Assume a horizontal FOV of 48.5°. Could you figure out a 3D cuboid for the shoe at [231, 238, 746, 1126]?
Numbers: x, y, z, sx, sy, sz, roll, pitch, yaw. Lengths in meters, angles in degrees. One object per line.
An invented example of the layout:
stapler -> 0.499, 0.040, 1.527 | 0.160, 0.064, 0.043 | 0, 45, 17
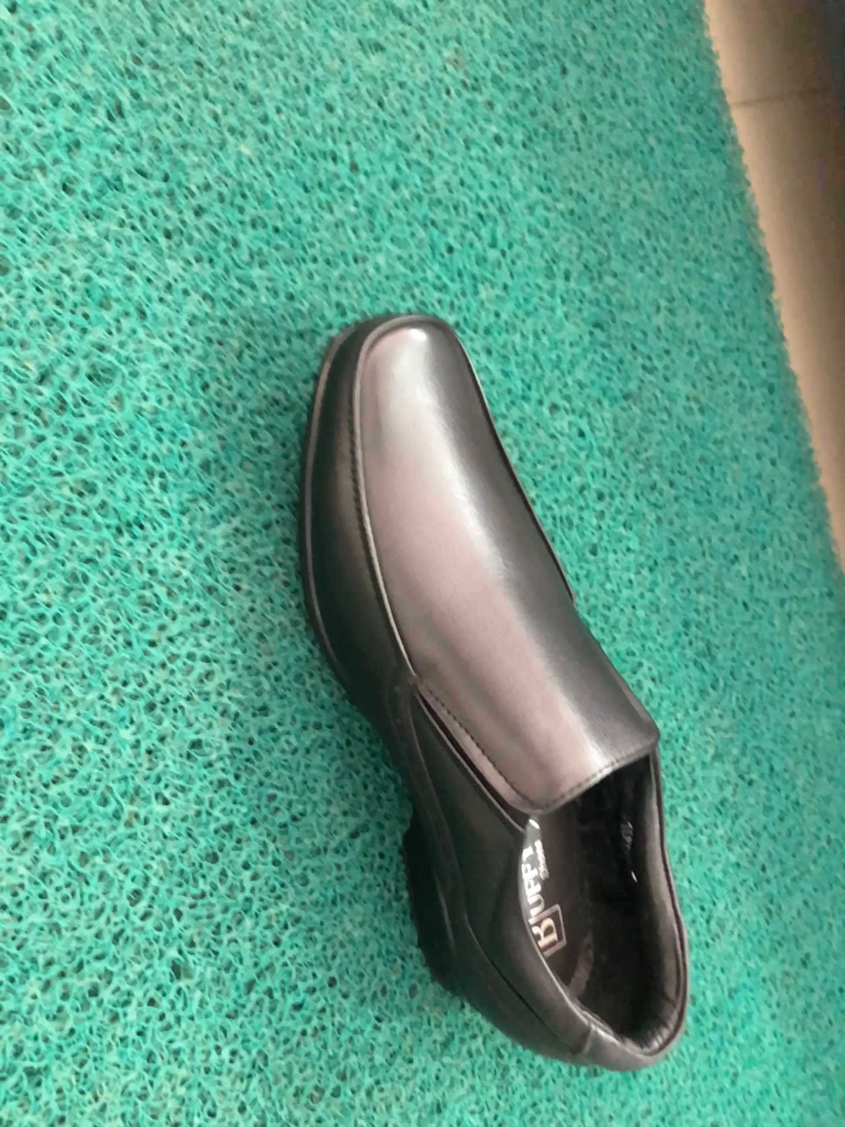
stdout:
shoe -> 0.029, 0.048, 0.358 | 0.101, 0.089, 0.310 | -18, 99, -37
